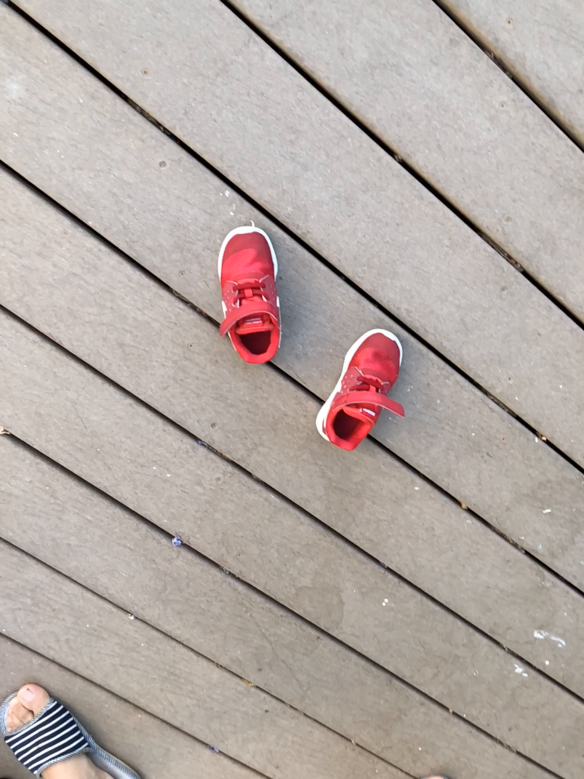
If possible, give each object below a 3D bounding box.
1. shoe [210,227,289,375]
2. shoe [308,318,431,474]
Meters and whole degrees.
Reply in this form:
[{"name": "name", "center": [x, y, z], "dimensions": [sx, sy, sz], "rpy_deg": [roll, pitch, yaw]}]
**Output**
[{"name": "shoe", "center": [-0.047, -0.103, 0.736], "dimensions": [0.073, 0.069, 0.153], "rpy_deg": [-5, 110, -3]}, {"name": "shoe", "center": [0.090, 0.008, 0.783], "dimensions": [0.069, 0.069, 0.164], "rpy_deg": [23, 106, -12]}]
